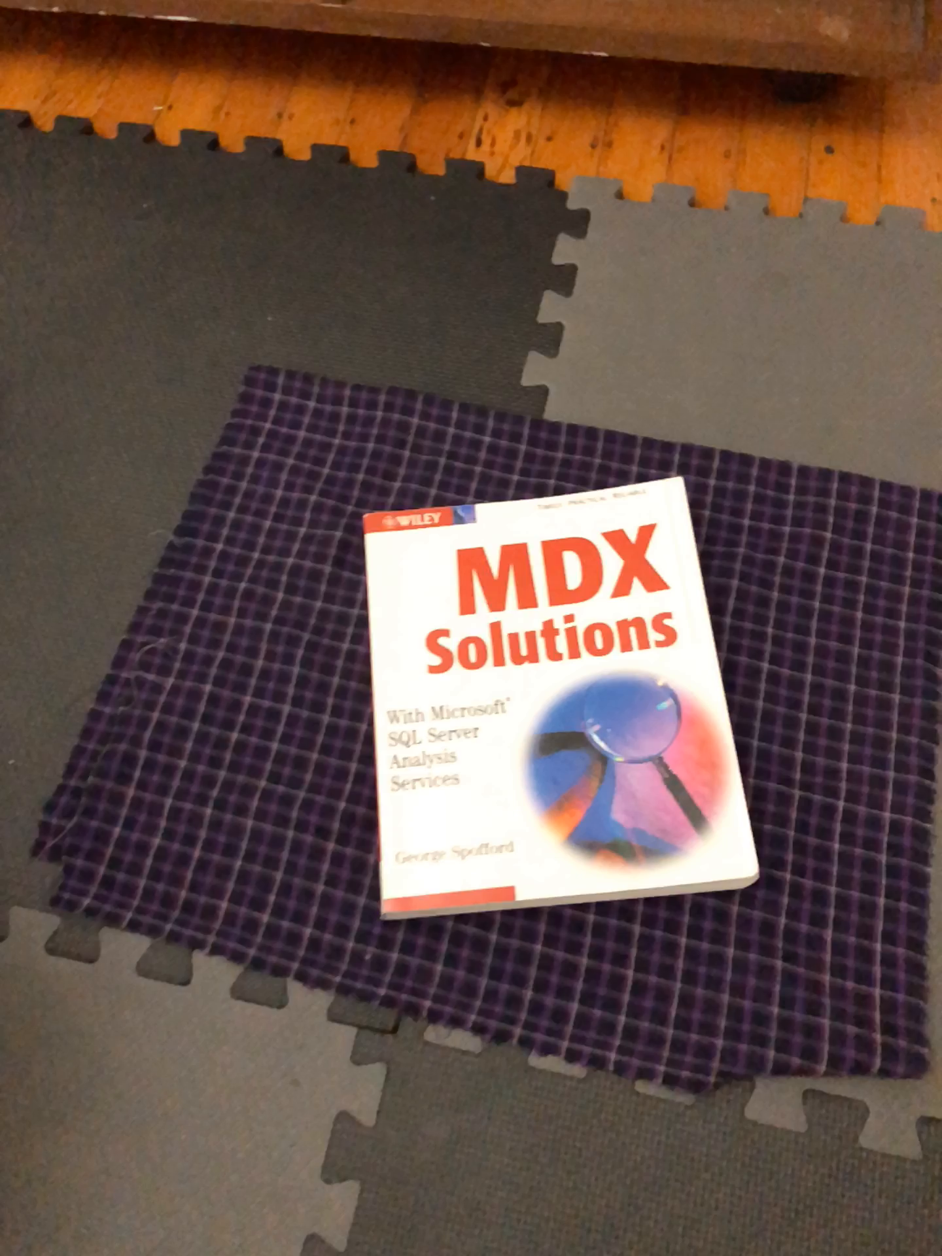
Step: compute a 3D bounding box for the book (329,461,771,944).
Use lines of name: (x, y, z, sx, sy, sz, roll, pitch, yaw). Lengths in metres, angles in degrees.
book: (0.034, 0.037, 0.610, 0.220, 0.050, 0.261, -6, 64, 1)
